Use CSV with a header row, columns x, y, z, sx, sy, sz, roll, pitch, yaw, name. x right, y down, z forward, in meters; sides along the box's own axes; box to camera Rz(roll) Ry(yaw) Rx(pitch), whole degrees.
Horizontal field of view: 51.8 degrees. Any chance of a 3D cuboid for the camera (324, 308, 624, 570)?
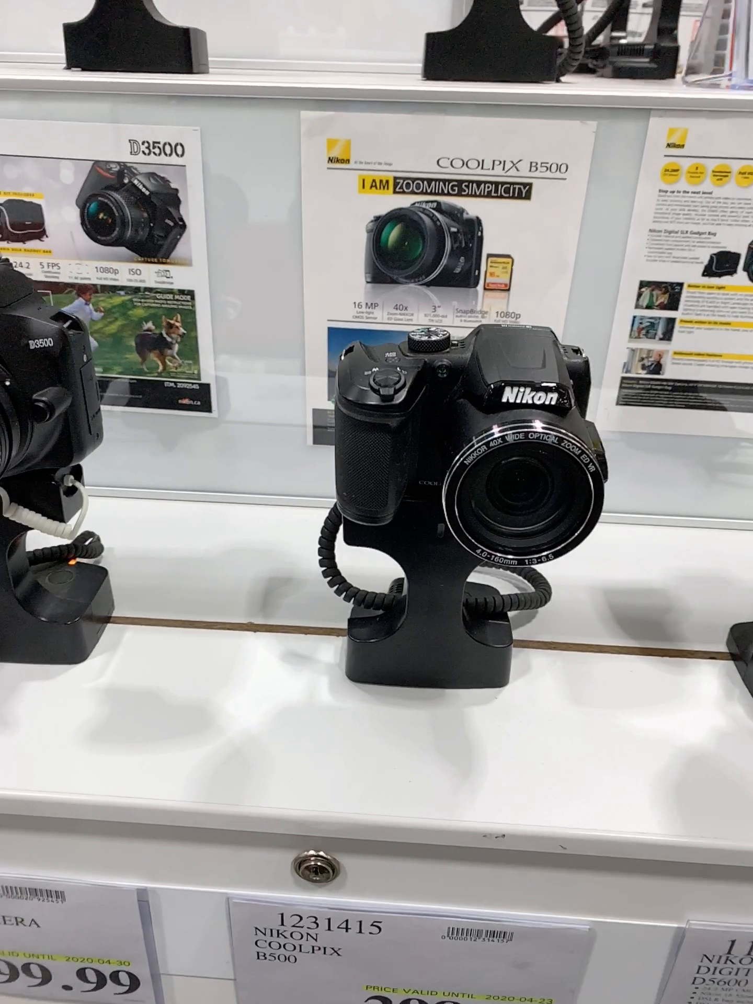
x,y,z,sx,sy,sz,roll,pitch,yaw,name
0.036,-0.029,0.337,0.110,0.089,0.071,1,29,1,camera
